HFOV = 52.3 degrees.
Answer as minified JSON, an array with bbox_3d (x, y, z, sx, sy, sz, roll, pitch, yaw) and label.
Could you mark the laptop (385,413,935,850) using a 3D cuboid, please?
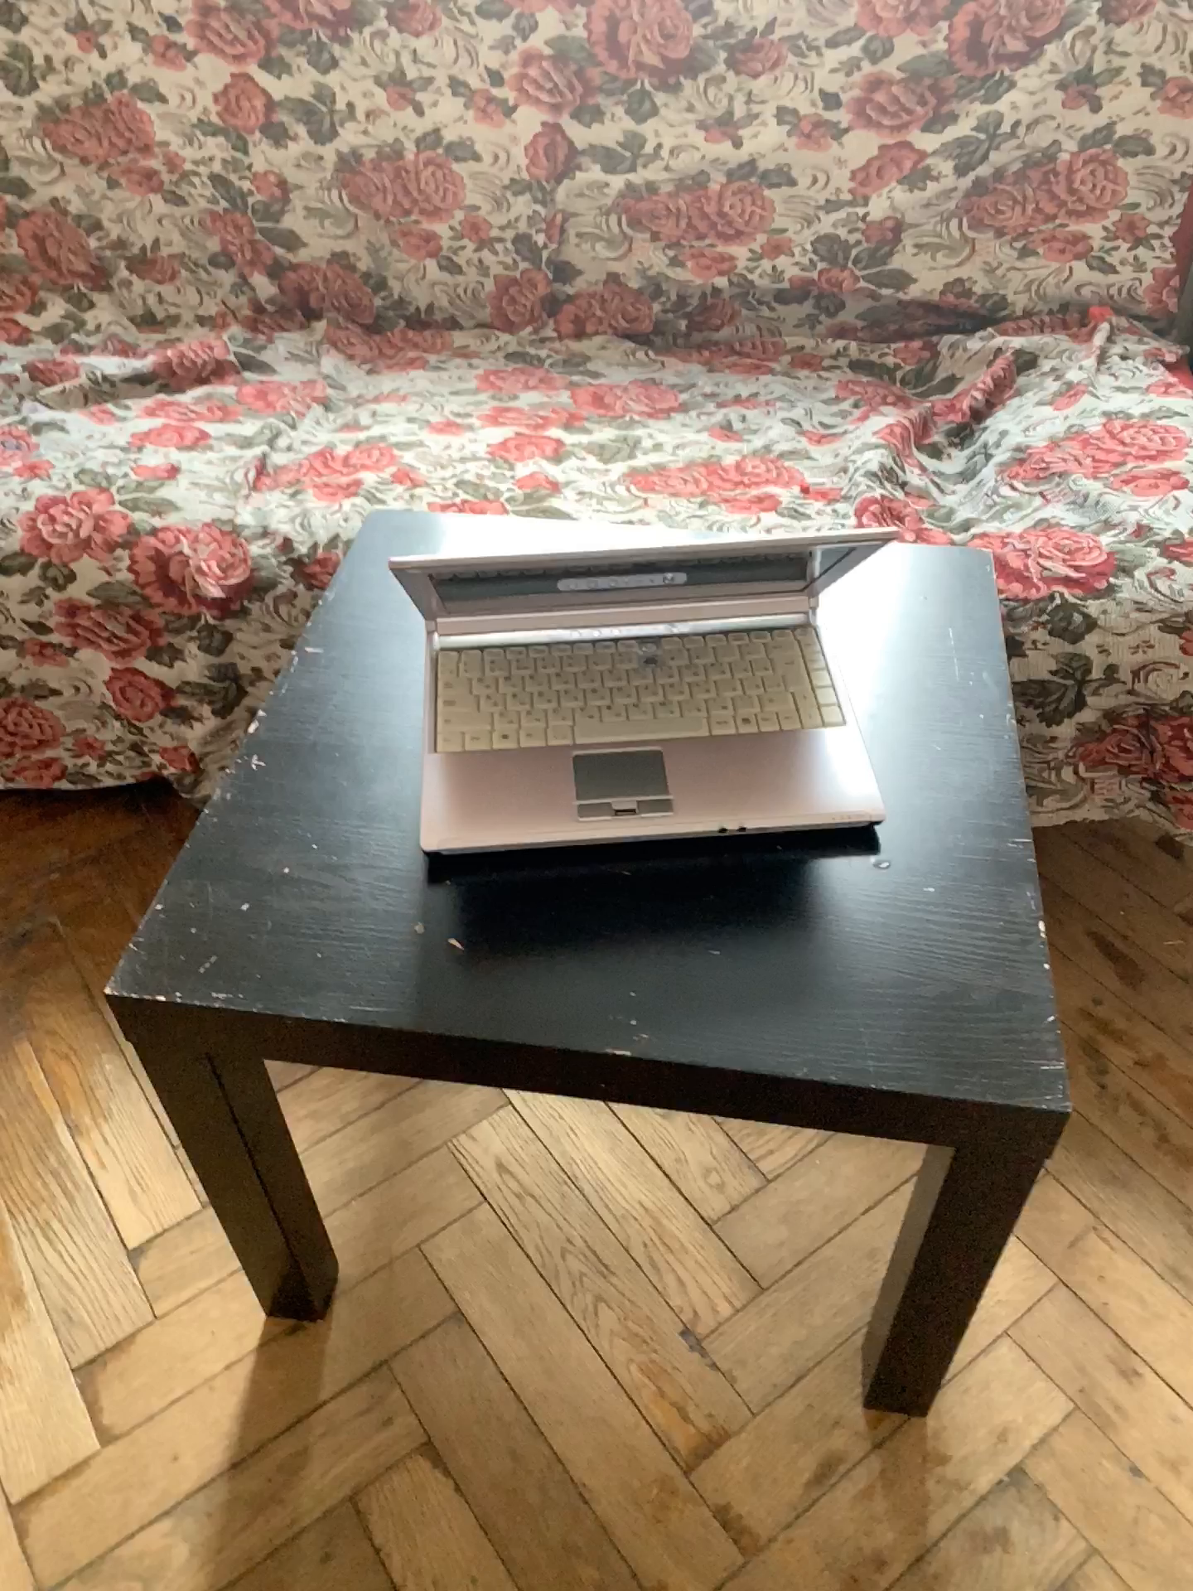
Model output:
[{"bbox_3d":[0.028,-0.114,0.801,0.305,0.156,0.227,-4,45,-3],"label":"laptop"}]
